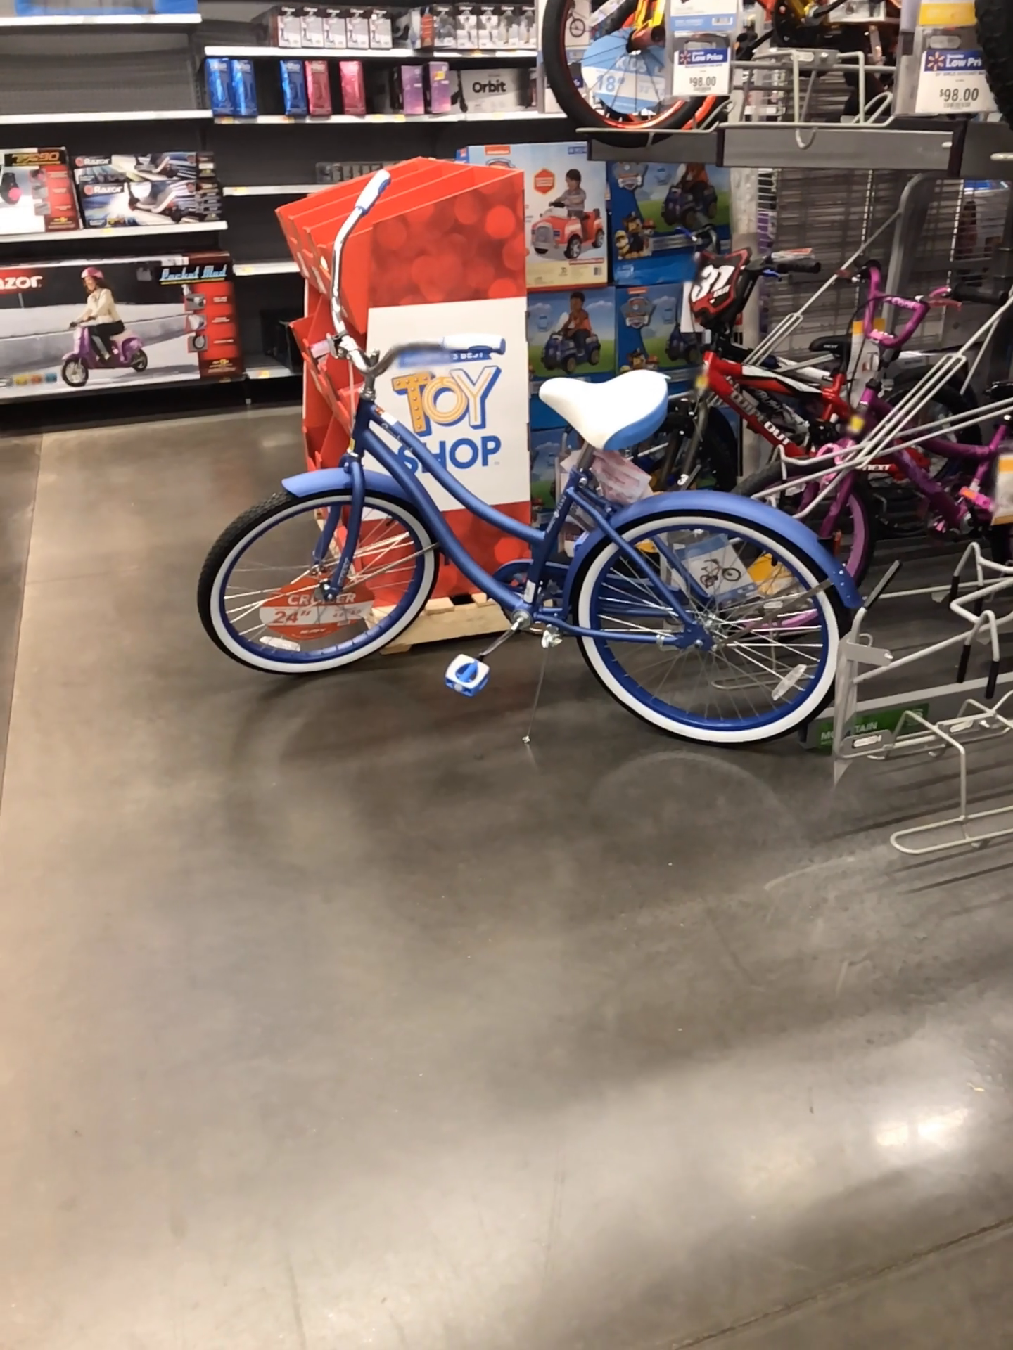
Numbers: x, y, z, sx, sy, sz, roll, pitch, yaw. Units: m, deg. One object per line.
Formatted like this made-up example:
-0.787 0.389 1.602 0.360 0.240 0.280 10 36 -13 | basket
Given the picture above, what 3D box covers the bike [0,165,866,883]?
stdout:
-0.062 -0.357 2.250 1.354 1.114 0.860 4 26 17 | bike
